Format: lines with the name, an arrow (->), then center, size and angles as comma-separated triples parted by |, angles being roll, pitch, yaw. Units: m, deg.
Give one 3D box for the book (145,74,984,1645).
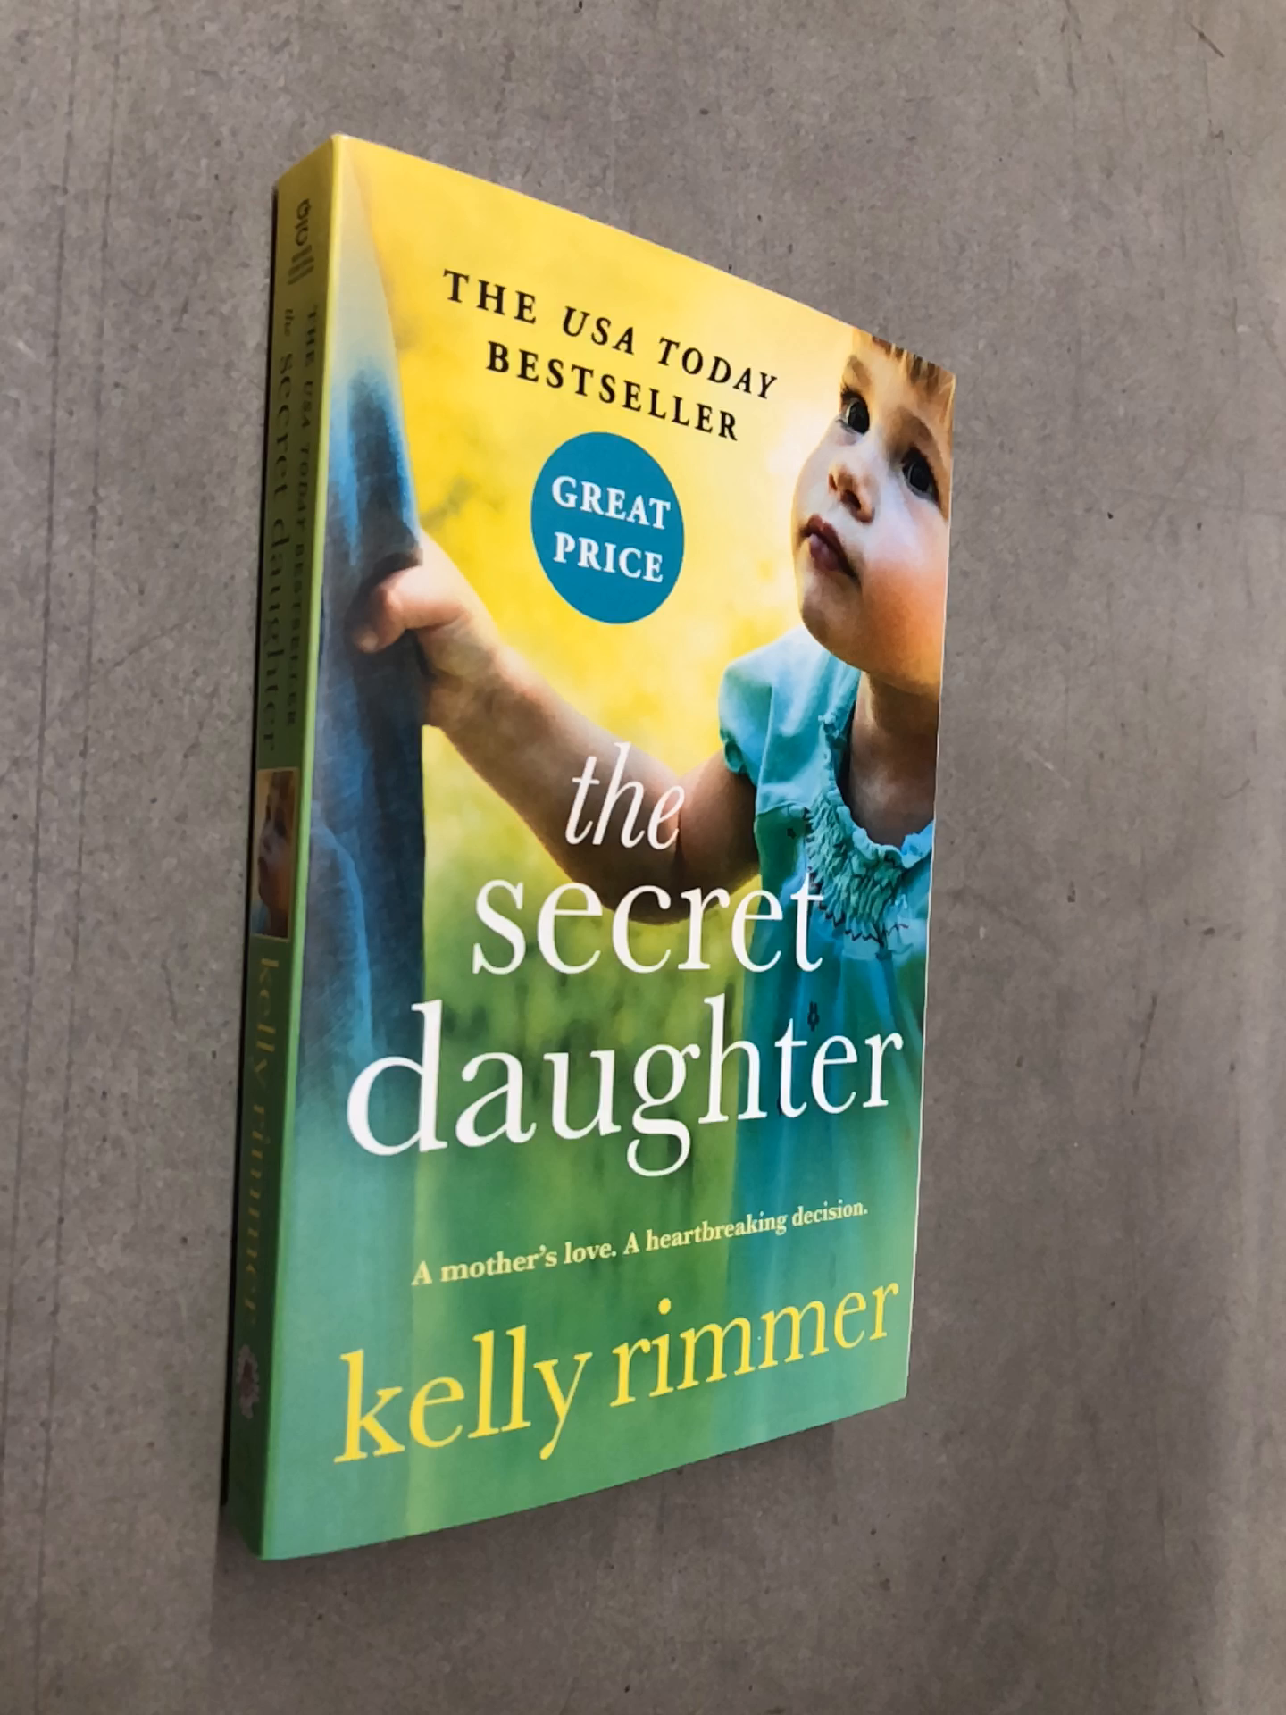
book -> -0.004, 0.003, 0.245 | 0.141, 0.030, 0.210 | 3, 90, -38
